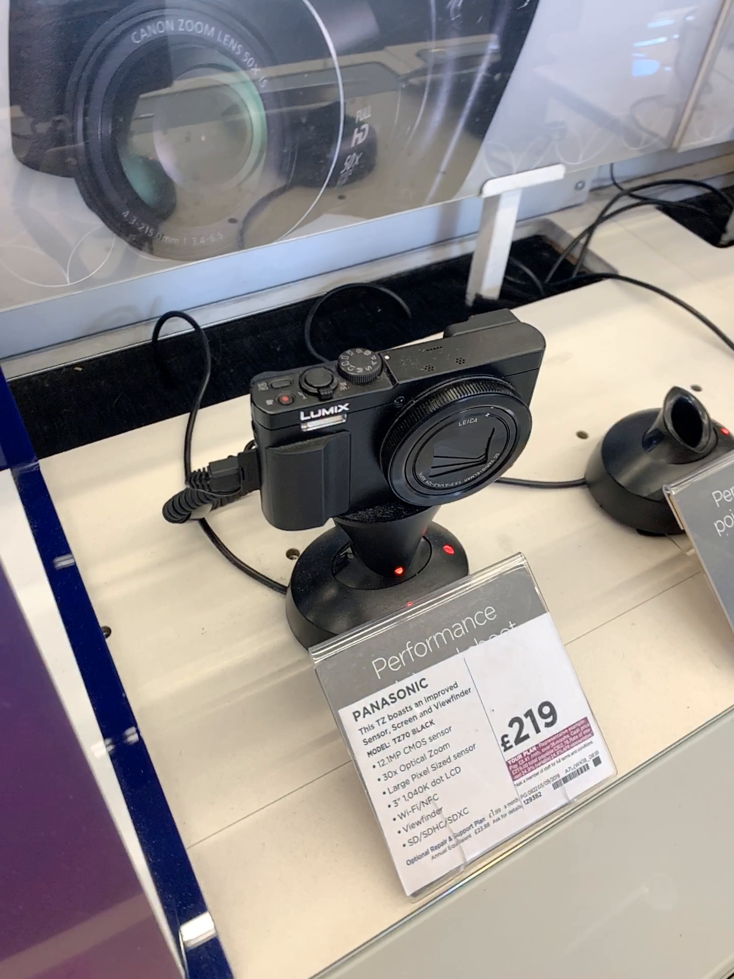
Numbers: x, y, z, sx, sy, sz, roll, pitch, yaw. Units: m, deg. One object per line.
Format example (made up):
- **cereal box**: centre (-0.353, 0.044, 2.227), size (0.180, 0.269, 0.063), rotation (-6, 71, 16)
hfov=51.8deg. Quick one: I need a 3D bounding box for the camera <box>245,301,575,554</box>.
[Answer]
- **camera**: centre (0.014, -0.023, 0.283), size (0.110, 0.069, 0.030), rotation (-15, 51, -17)
